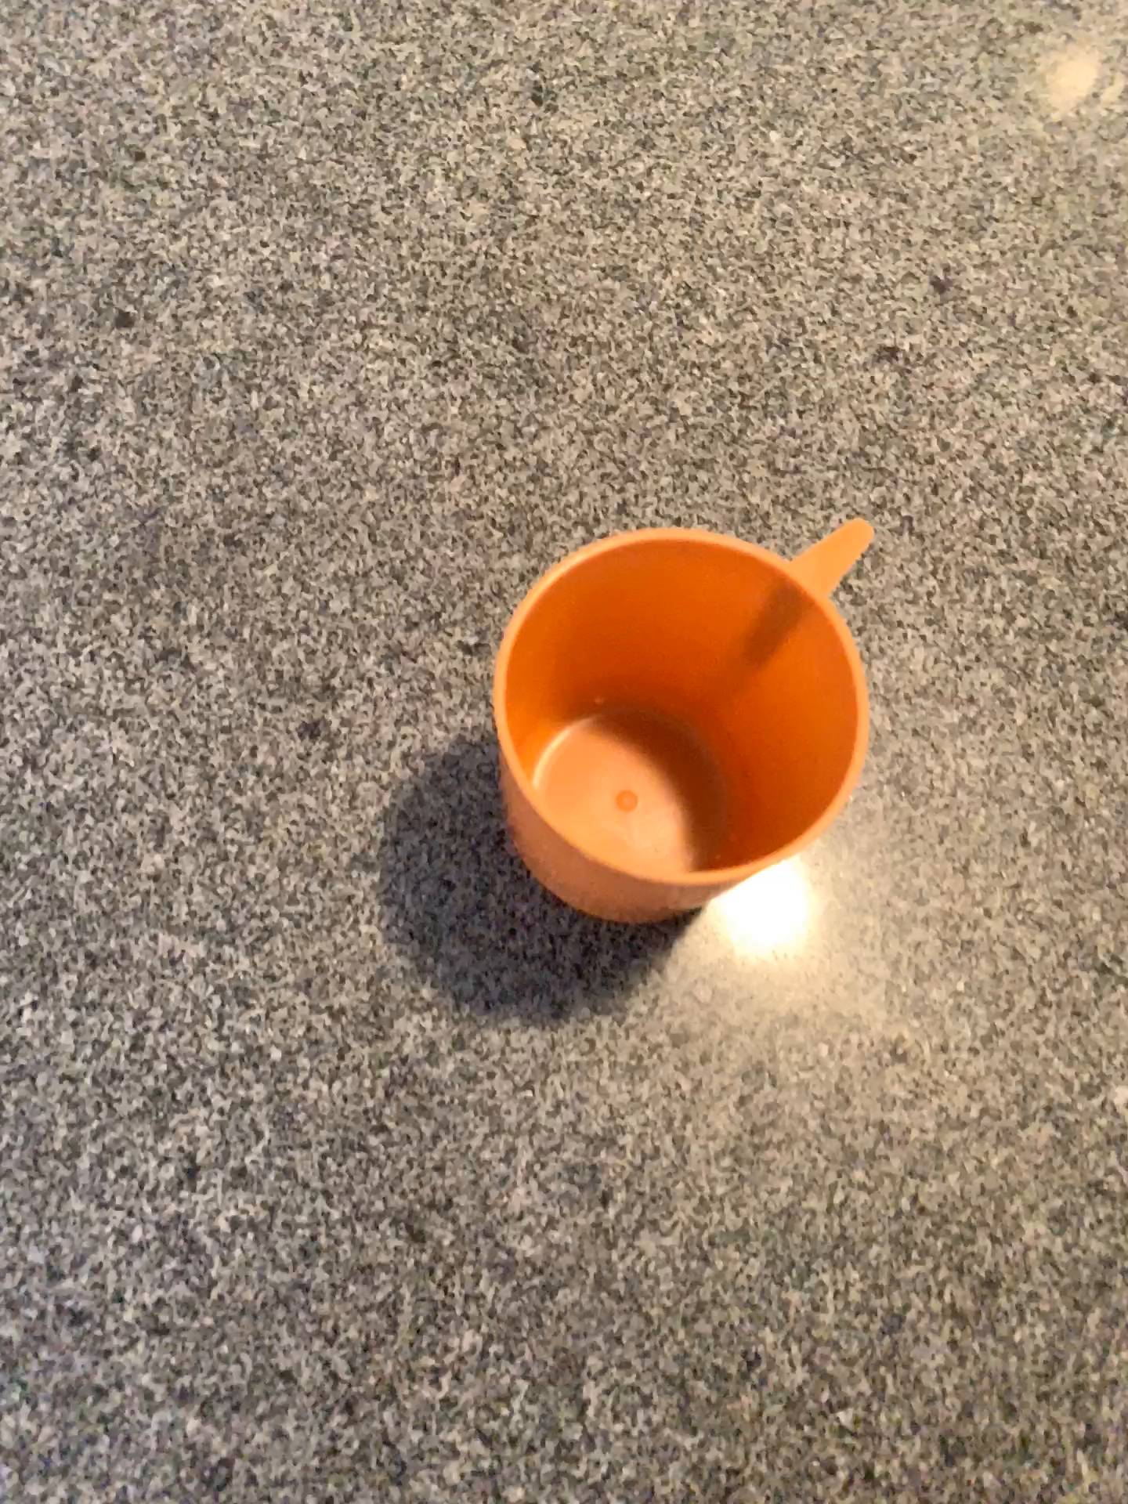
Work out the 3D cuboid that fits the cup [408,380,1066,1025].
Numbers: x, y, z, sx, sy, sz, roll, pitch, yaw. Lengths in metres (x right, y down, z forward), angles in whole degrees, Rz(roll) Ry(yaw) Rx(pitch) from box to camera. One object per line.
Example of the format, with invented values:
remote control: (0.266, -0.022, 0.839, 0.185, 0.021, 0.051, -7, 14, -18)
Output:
cup: (0.032, -0.007, 0.275, 0.110, 0.090, 0.080, -36, 78, -17)
